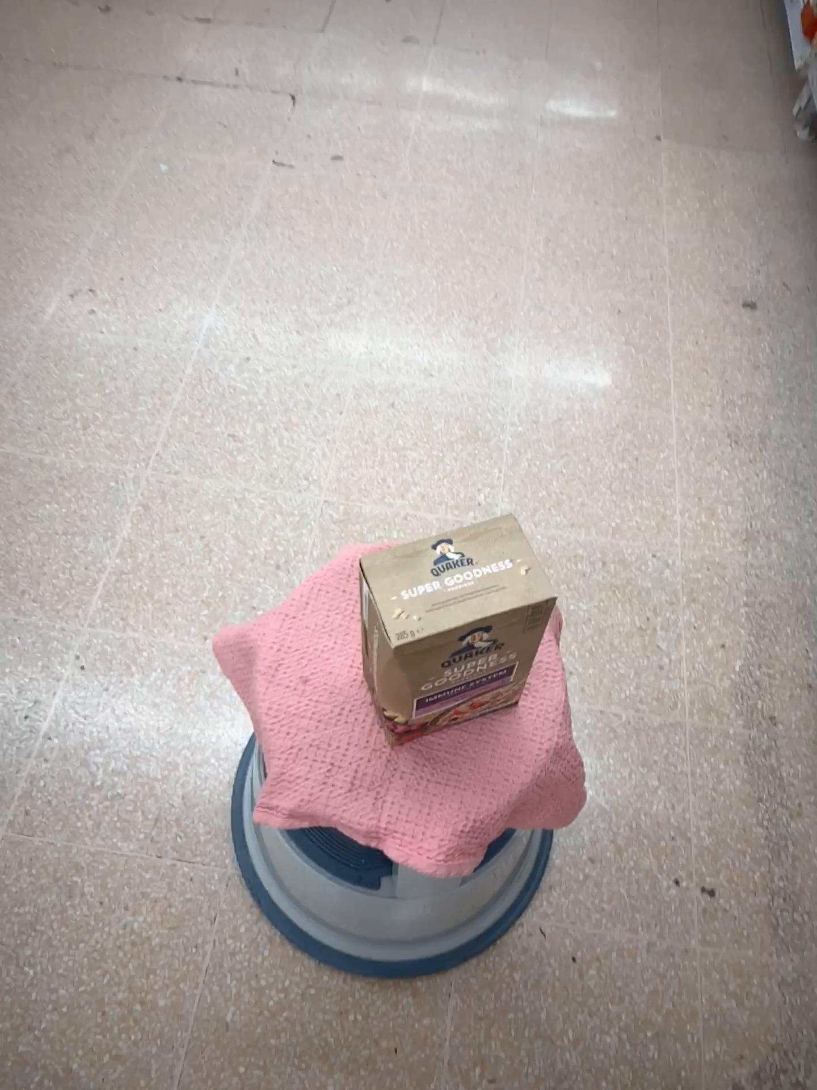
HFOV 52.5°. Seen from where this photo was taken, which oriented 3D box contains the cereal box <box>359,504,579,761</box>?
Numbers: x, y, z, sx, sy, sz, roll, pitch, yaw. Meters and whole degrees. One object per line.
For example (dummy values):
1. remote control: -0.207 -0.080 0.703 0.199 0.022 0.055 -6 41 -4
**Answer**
1. cereal box: 0.037 0.079 0.672 0.130 0.208 0.091 -17 61 -13
